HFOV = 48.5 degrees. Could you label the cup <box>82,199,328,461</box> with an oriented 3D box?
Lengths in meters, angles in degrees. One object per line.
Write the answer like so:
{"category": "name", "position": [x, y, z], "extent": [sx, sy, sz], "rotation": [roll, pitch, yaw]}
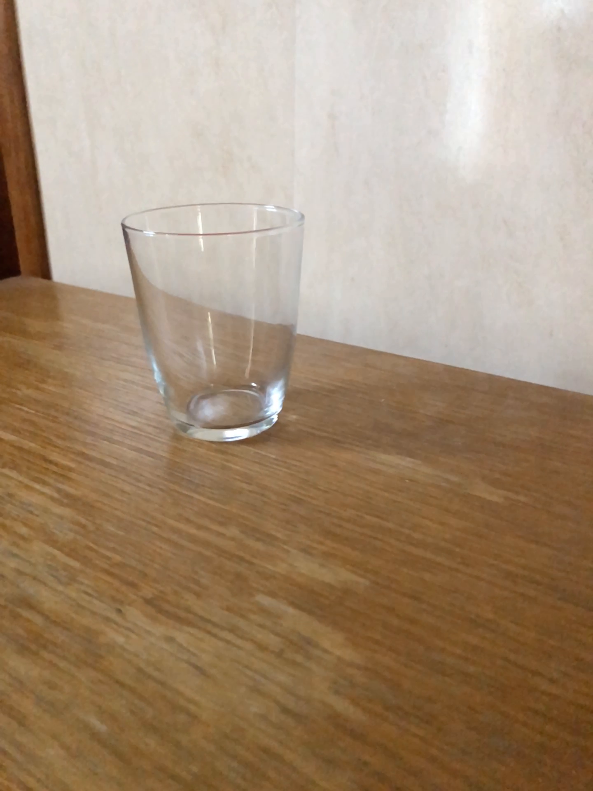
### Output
{"category": "cup", "position": [-0.030, -0.030, 0.260], "extent": [0.070, 0.080, 0.070], "rotation": [1, 23, 0]}
